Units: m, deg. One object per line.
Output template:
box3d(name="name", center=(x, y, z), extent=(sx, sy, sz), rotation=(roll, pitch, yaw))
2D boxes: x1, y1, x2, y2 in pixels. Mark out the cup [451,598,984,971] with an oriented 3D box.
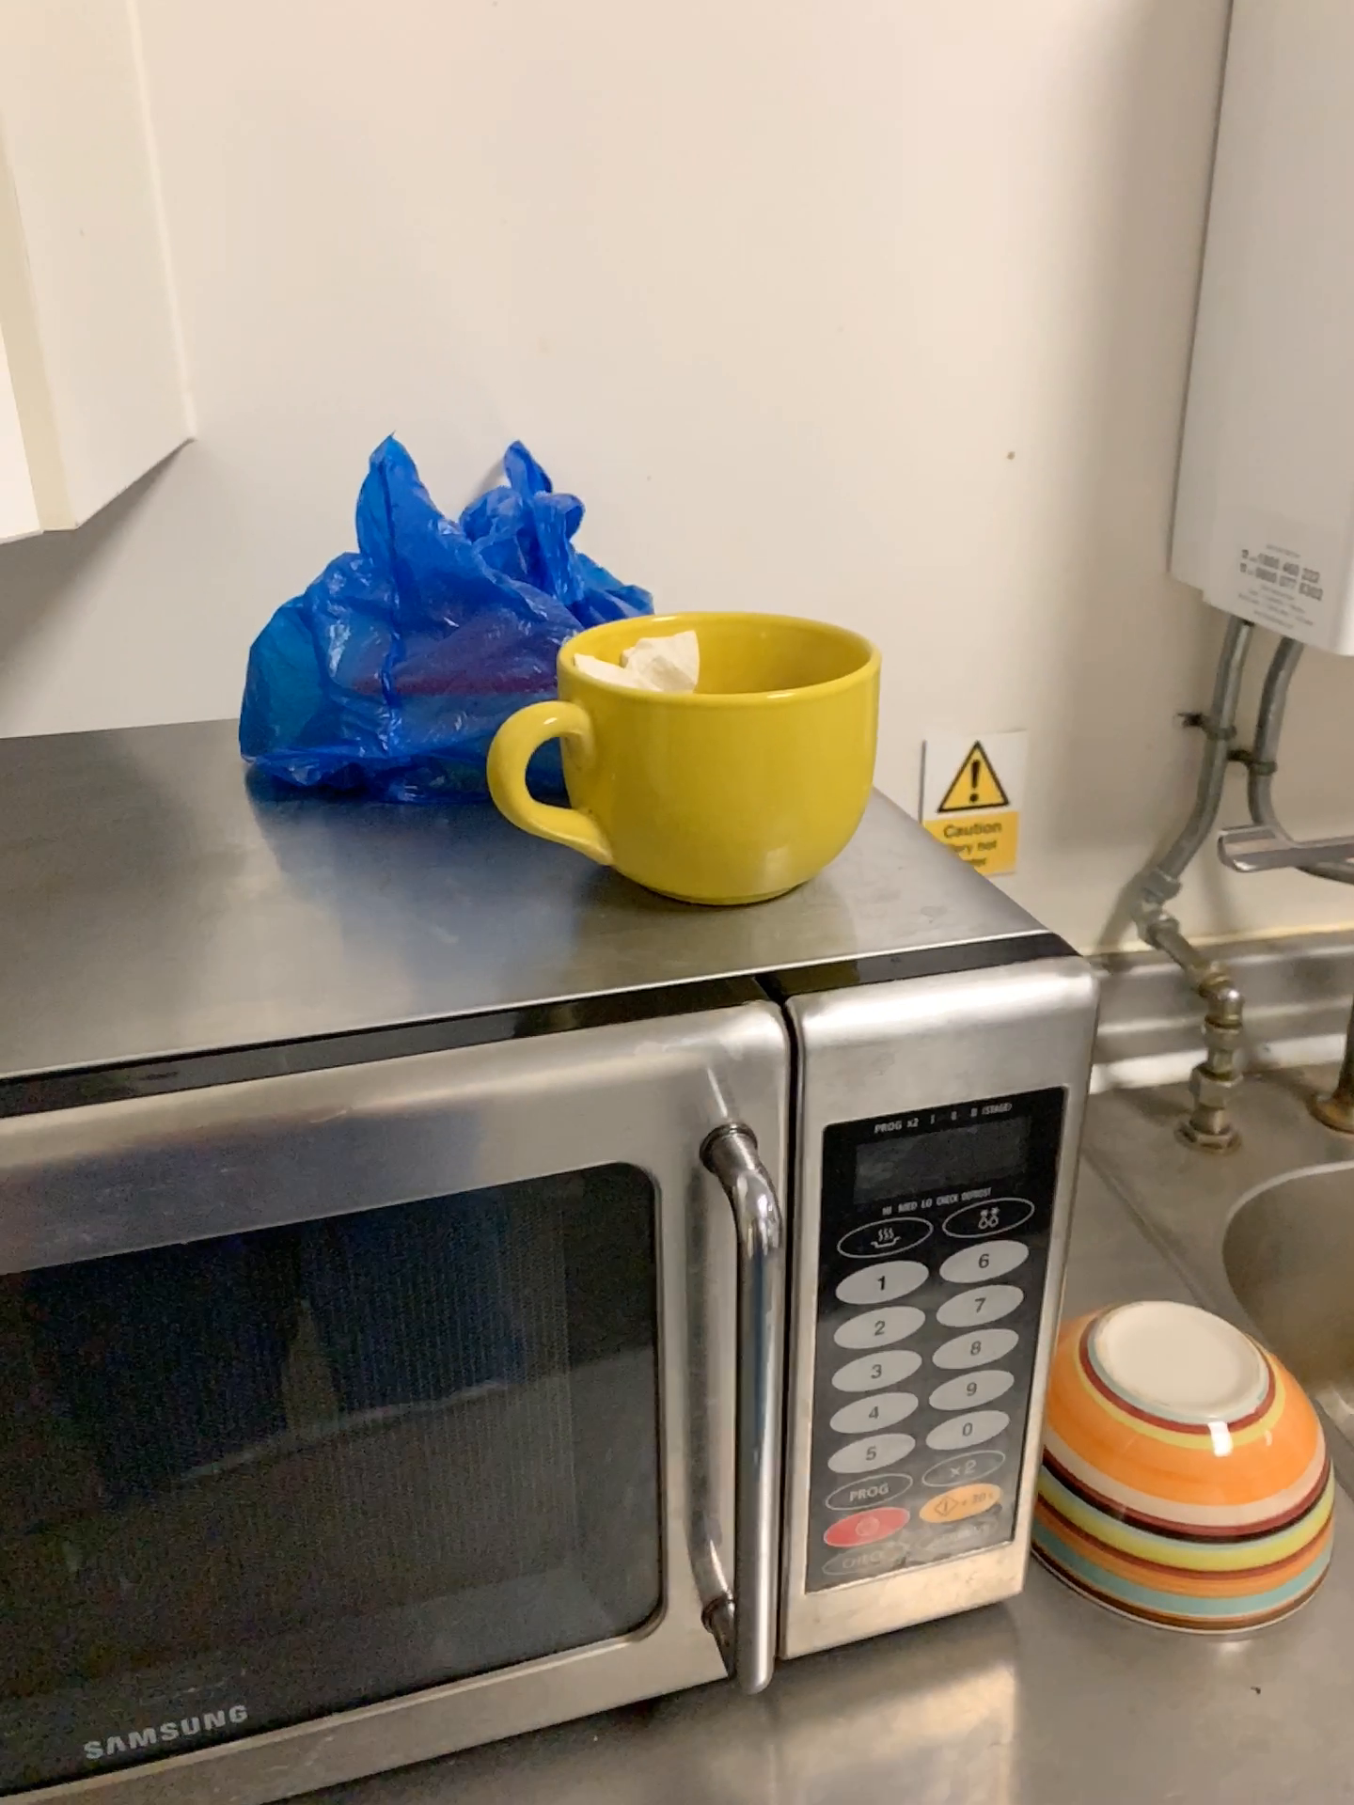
box3d(name="cup", center=(0.009, -0.049, 0.494), extent=(0.154, 0.082, 0.116), rotation=(-8, 25, -15))
